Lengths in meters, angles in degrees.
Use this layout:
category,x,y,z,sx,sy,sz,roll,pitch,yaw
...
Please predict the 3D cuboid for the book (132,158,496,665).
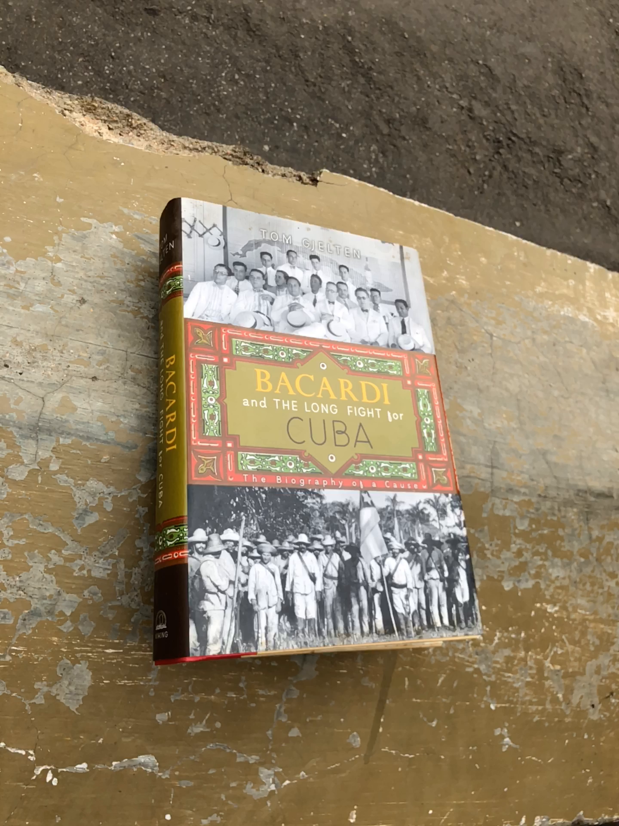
category,x,y,z,sx,sy,sz,roll,pitch,yaw
book,-0.002,-0.002,0.377,0.171,0.050,0.250,7,66,-26
